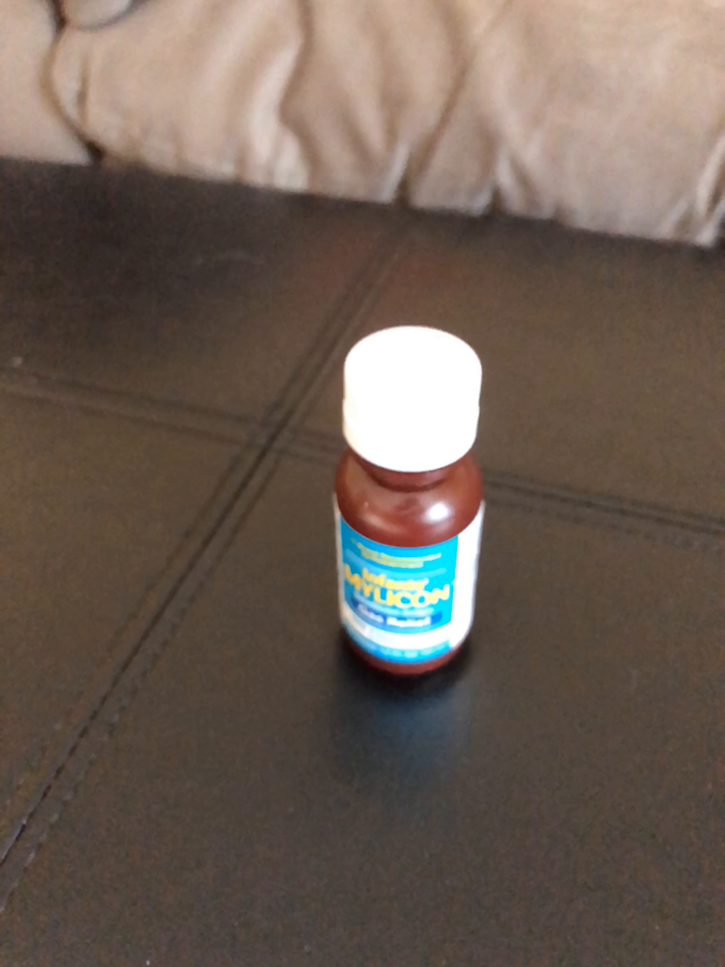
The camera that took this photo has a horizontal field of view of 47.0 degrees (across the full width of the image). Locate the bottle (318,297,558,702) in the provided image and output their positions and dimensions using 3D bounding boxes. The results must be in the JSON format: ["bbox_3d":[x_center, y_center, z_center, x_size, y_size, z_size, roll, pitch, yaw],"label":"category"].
[{"bbox_3d":[0.017,0.006,0.183,0.040,0.080,0.040,-2,44,1],"label":"bottle"}]
